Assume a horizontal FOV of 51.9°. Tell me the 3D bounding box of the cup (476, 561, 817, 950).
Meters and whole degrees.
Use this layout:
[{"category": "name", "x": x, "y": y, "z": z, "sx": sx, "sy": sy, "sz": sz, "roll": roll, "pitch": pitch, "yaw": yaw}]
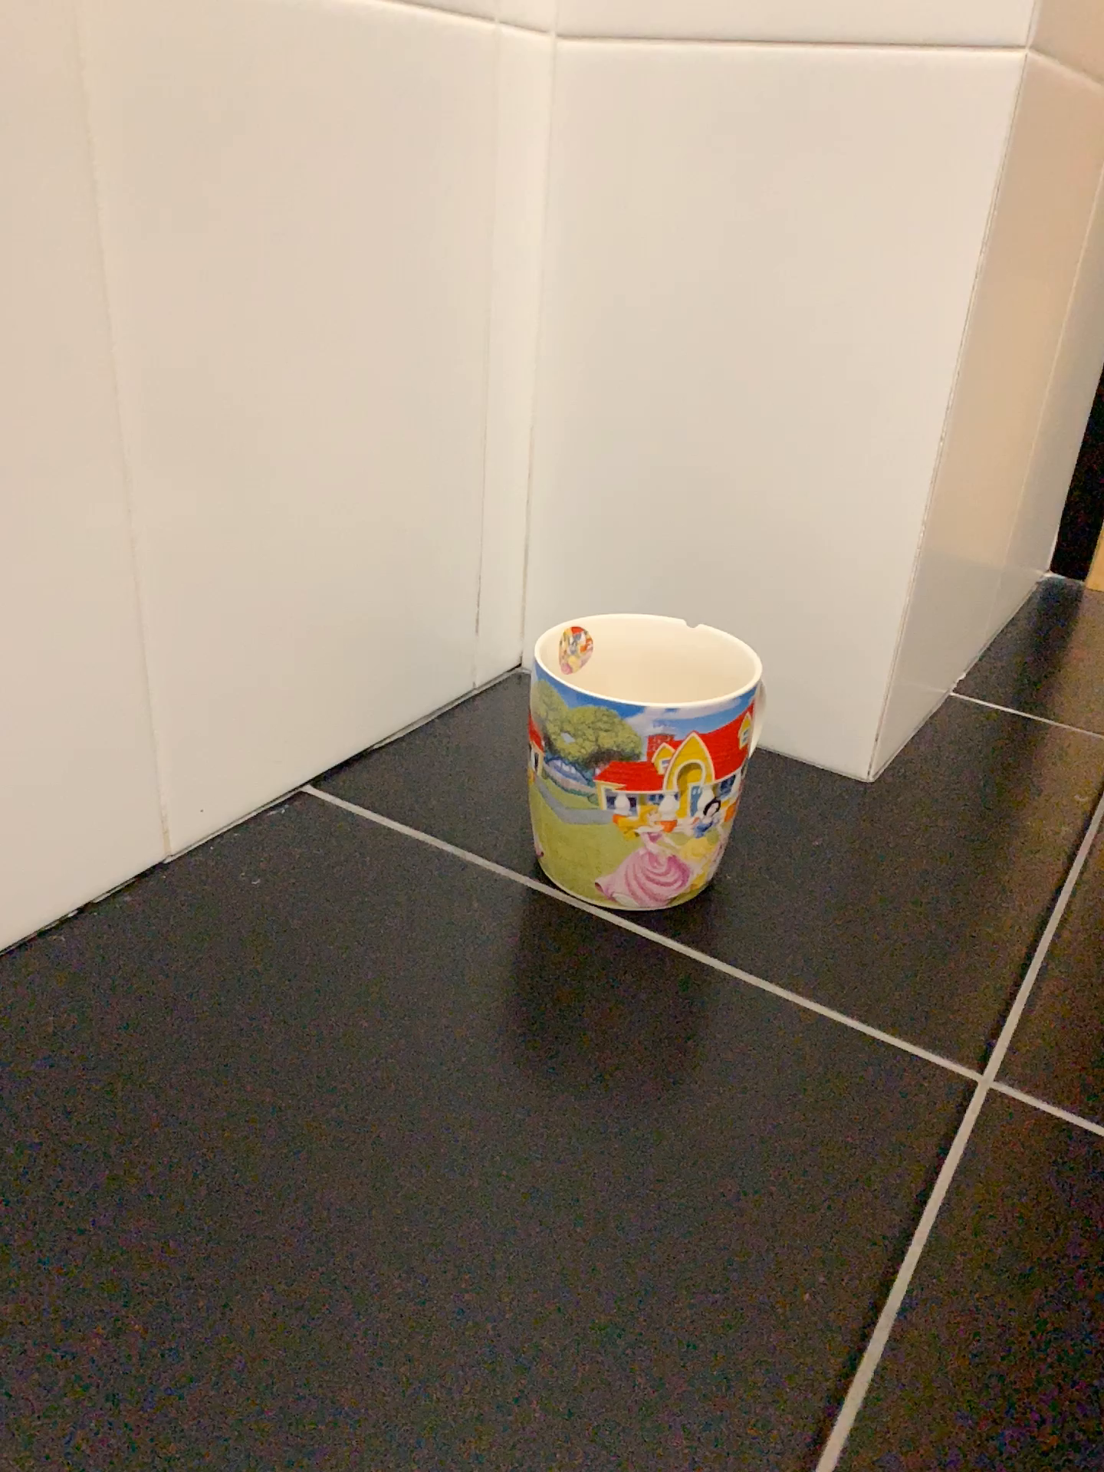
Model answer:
[{"category": "cup", "x": 0.040, "y": 0.000, "z": 0.466, "sx": 0.085, "sy": 0.099, "sz": 0.125, "roll": 18, "pitch": 30, "yaw": 24}]
